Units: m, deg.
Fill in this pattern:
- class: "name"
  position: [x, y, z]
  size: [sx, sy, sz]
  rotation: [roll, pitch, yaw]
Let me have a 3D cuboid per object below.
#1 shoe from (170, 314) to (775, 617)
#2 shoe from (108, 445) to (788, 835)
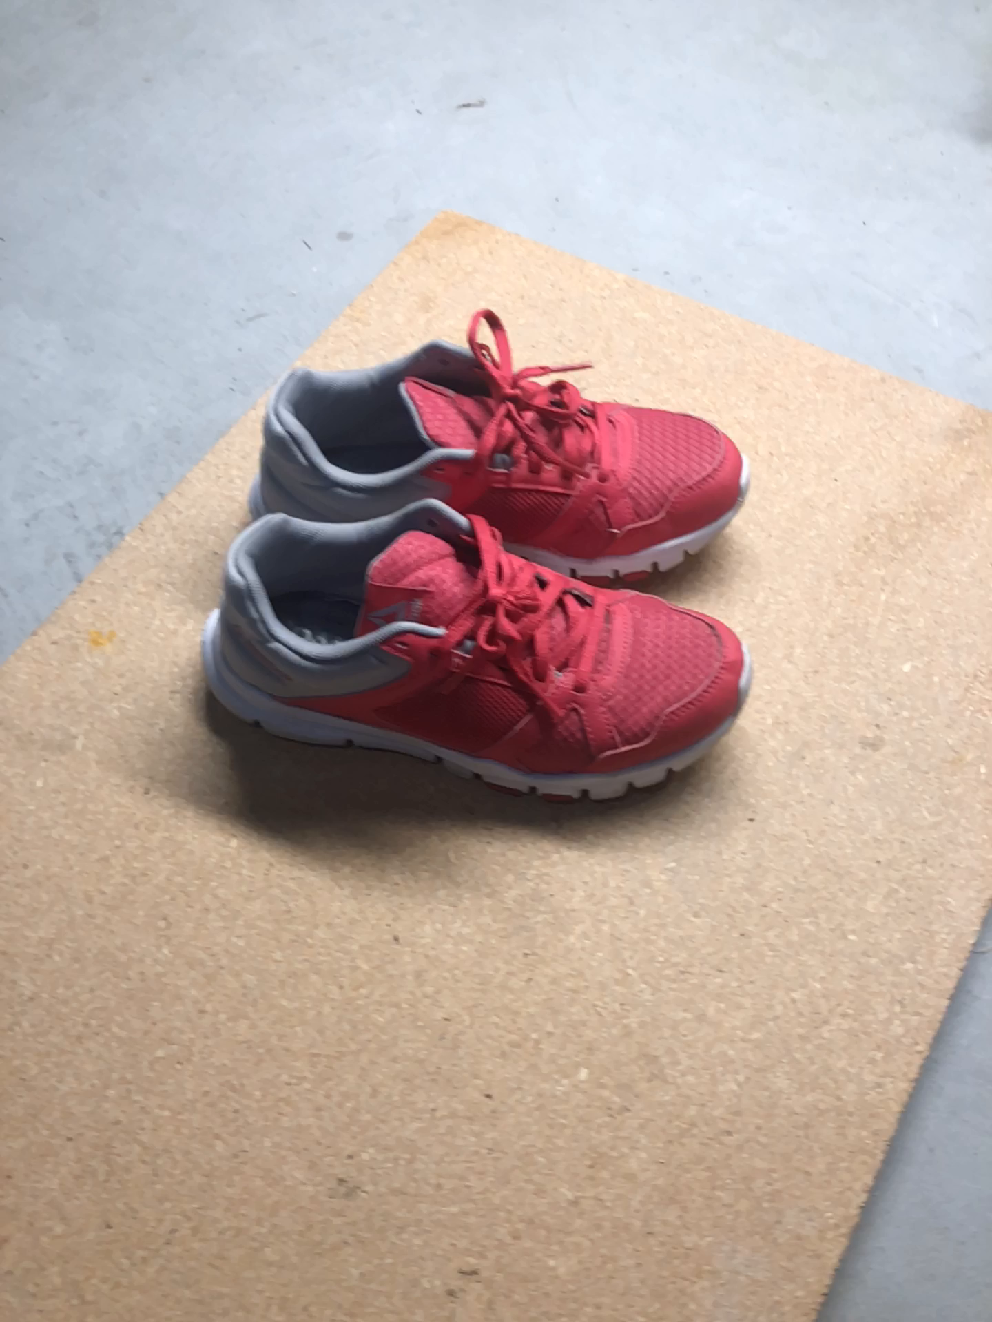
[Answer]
- class: "shoe"
  position: [-0.008, -0.099, 0.560]
  size: [0.270, 0.100, 0.110]
  rotation: [1, 59, 4]
- class: "shoe"
  position: [-0.016, -0.010, 0.504]
  size: [0.270, 0.100, 0.100]
  rotation: [9, 60, 8]
